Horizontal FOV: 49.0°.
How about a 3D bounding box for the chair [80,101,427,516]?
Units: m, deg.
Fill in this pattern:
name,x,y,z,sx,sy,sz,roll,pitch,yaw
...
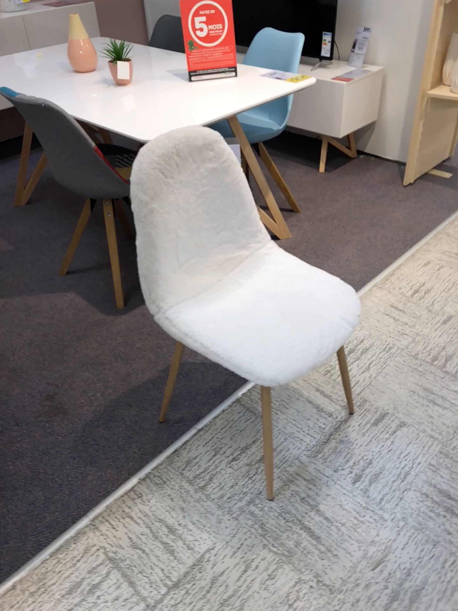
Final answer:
name,x,y,z,sx,sy,sz,roll,pitch,yaw
chair,0.072,-0.014,1.344,0.550,0.815,0.523,27,46,33
